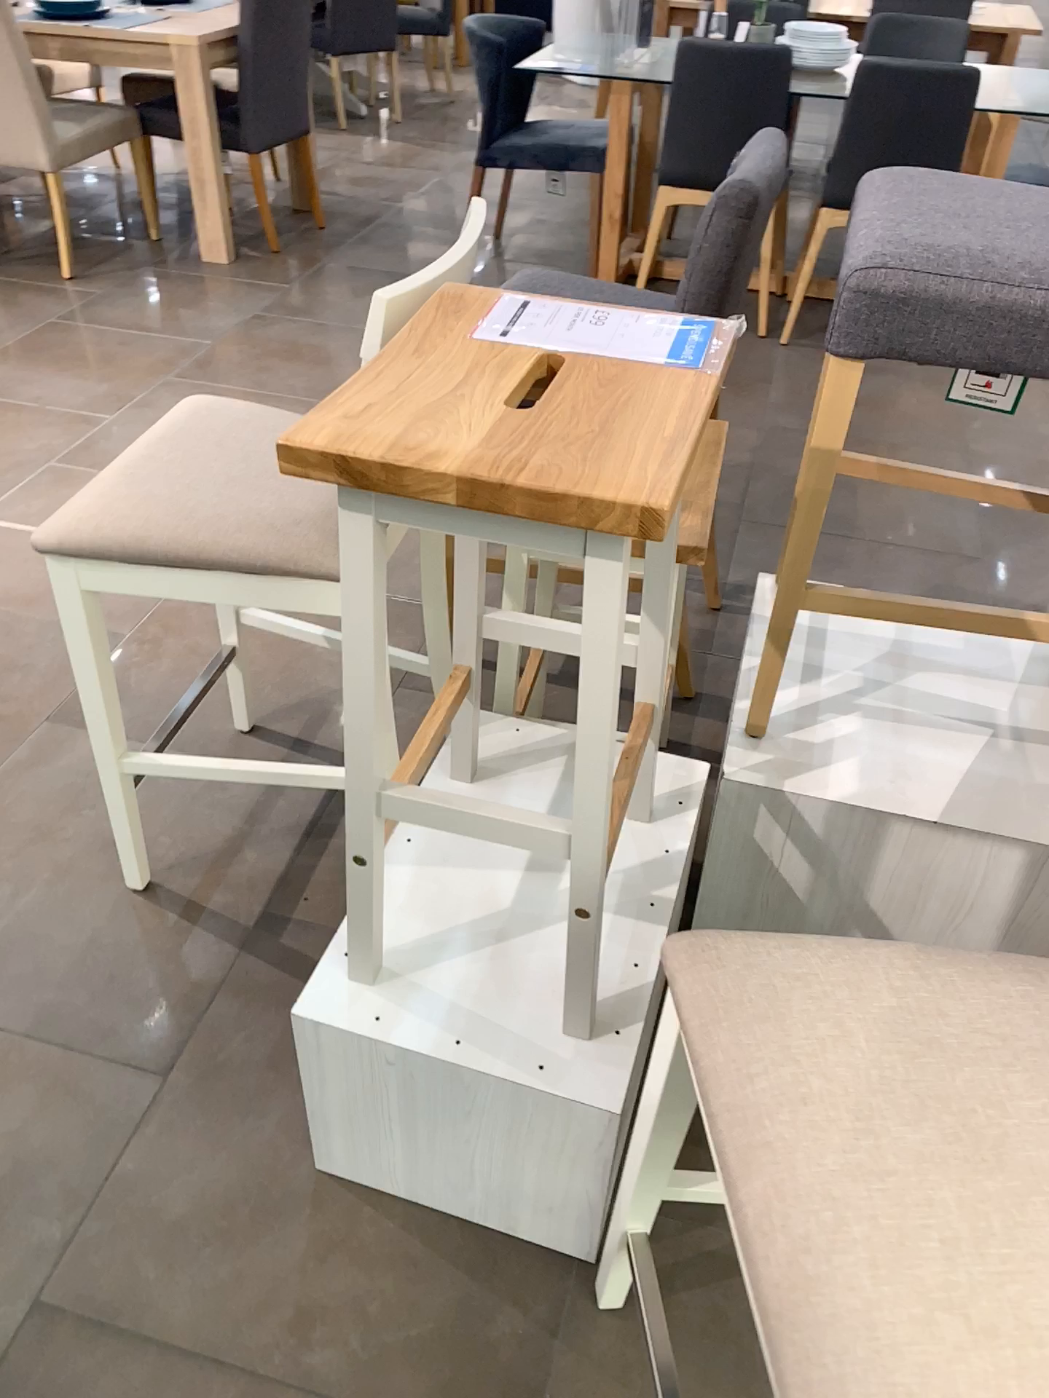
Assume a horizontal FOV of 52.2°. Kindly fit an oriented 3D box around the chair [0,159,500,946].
[{"bbox_3d":[-0.332,-0.172,1.511,0.501,0.954,0.441,8,39,6],"label":"chair"}]

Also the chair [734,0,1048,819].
[{"bbox_3d":[0.628,-0.425,1.305,0.531,0.984,0.471,12,39,11],"label":"chair"}]

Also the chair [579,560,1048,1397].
[{"bbox_3d":[0.358,0.422,0.801,0.511,0.944,0.421,-3,39,-7],"label":"chair"}]

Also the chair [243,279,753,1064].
[{"bbox_3d":[-0.006,-0.024,1.094,0.321,0.637,0.401,12,39,12],"label":"chair"}]
